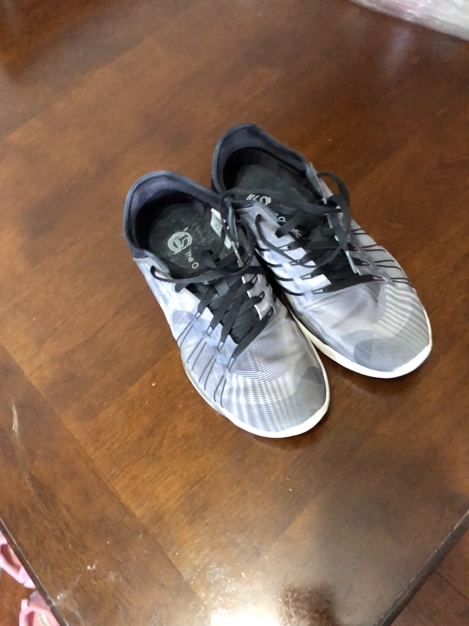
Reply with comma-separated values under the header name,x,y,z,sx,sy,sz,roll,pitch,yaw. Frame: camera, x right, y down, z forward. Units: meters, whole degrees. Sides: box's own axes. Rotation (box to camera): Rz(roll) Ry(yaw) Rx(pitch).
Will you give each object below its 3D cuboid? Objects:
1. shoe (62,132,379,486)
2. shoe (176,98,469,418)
name,x,y,z,sx,sy,sz,roll,pitch,yaw
shoe,-0.017,-0.010,0.376,0.100,0.090,0.230,-34,62,-9
shoe,0.065,-0.051,0.400,0.100,0.080,0.230,-34,62,-9
